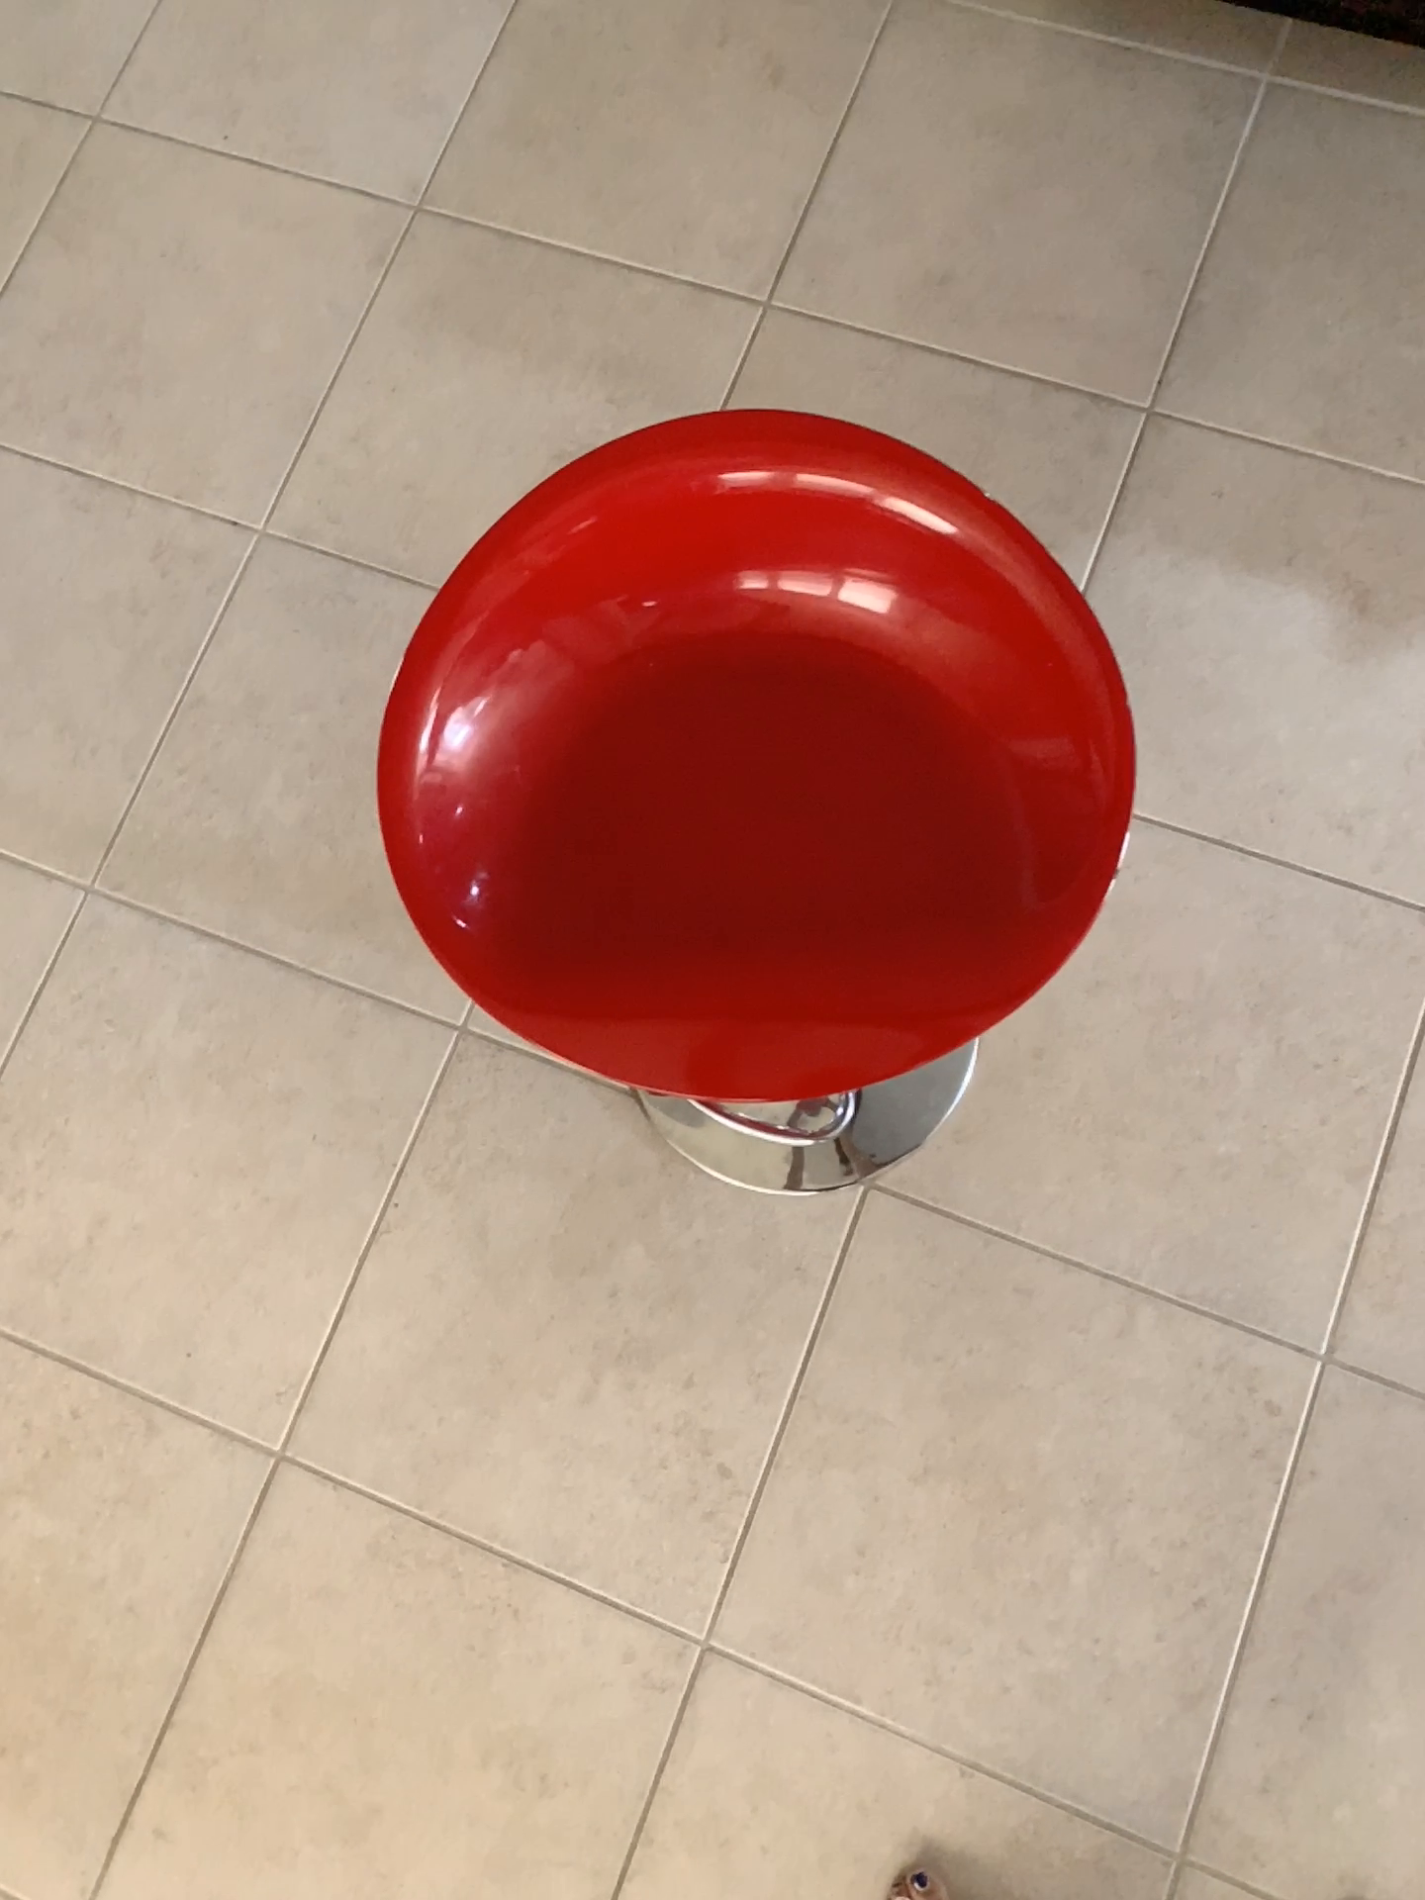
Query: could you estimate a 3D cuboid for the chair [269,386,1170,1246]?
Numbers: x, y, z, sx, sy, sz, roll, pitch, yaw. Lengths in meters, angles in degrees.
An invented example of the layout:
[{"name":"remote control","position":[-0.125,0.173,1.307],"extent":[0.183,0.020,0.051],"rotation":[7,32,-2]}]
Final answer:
[{"name":"chair","position":[0.041,-0.014,1.104],"extent":[0.437,0.732,0.432],"rotation":[1,77,6]}]
